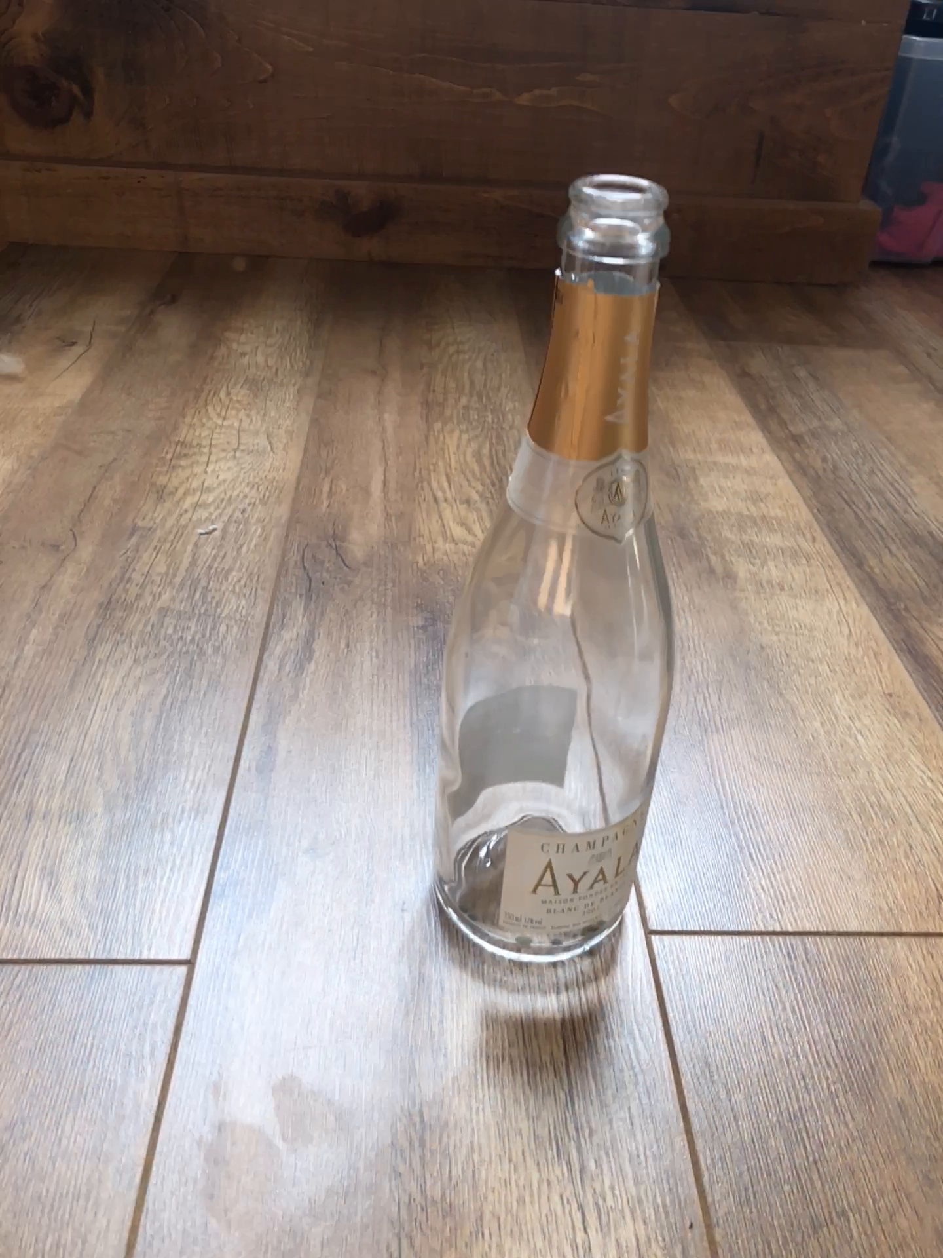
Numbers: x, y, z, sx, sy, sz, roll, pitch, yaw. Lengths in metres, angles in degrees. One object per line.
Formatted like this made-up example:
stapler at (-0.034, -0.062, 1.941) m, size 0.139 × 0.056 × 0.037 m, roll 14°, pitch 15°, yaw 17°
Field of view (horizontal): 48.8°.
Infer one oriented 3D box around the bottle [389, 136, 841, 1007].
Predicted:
bottle at (0.030, -0.006, 0.378) m, size 0.090 × 0.298 × 0.090 m, roll 3°, pitch 35°, yaw -2°
